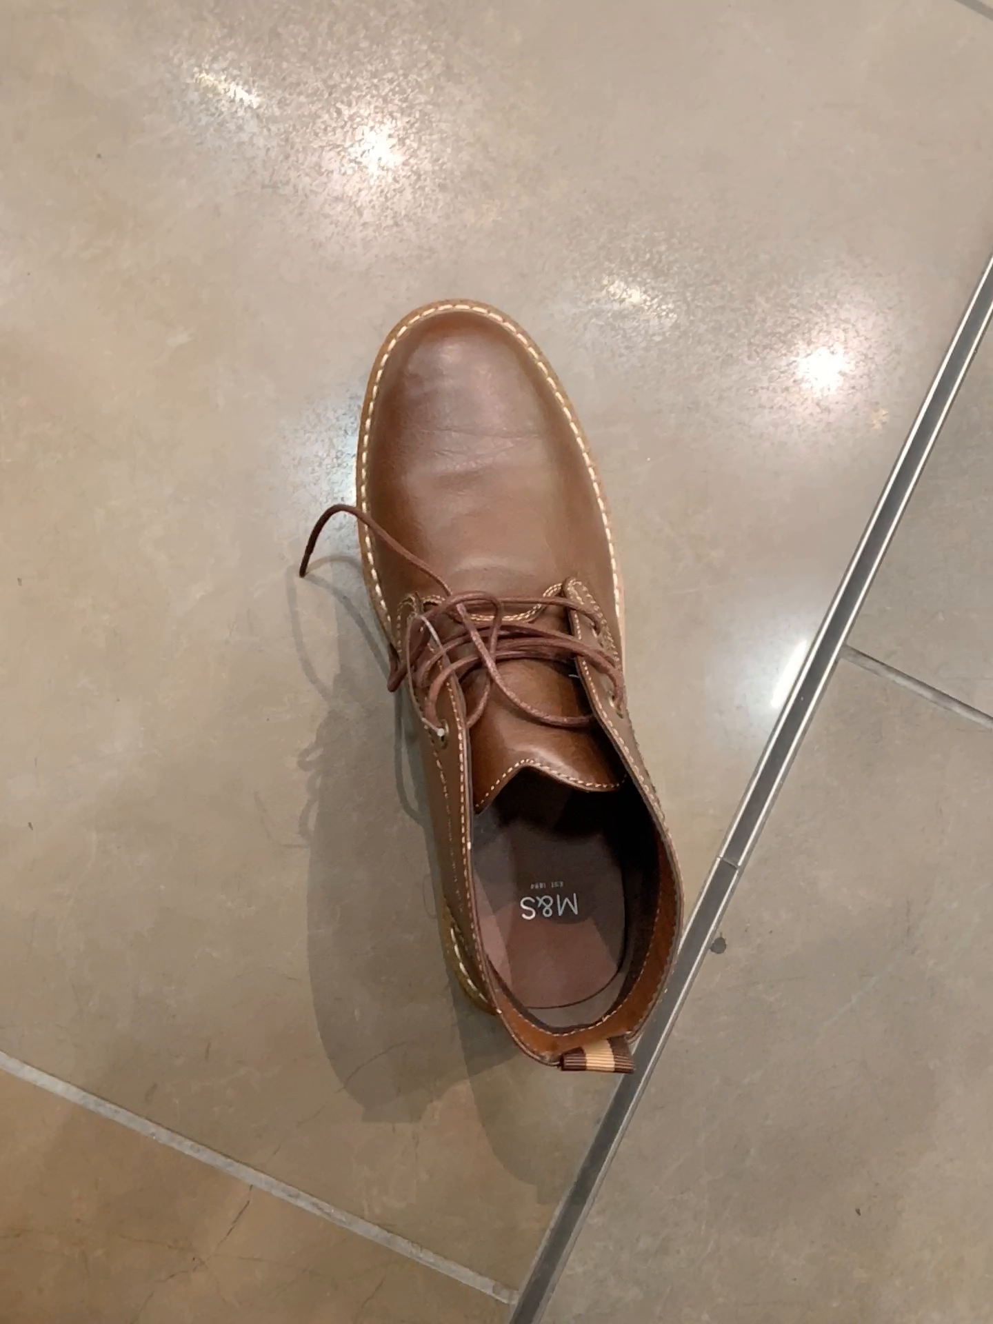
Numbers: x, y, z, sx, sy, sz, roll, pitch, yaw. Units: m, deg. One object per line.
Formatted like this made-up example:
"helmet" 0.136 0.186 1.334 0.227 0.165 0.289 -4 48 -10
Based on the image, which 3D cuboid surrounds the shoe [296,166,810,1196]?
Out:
"shoe" 0.012 0.003 0.364 0.106 0.120 0.295 -9 87 -4
